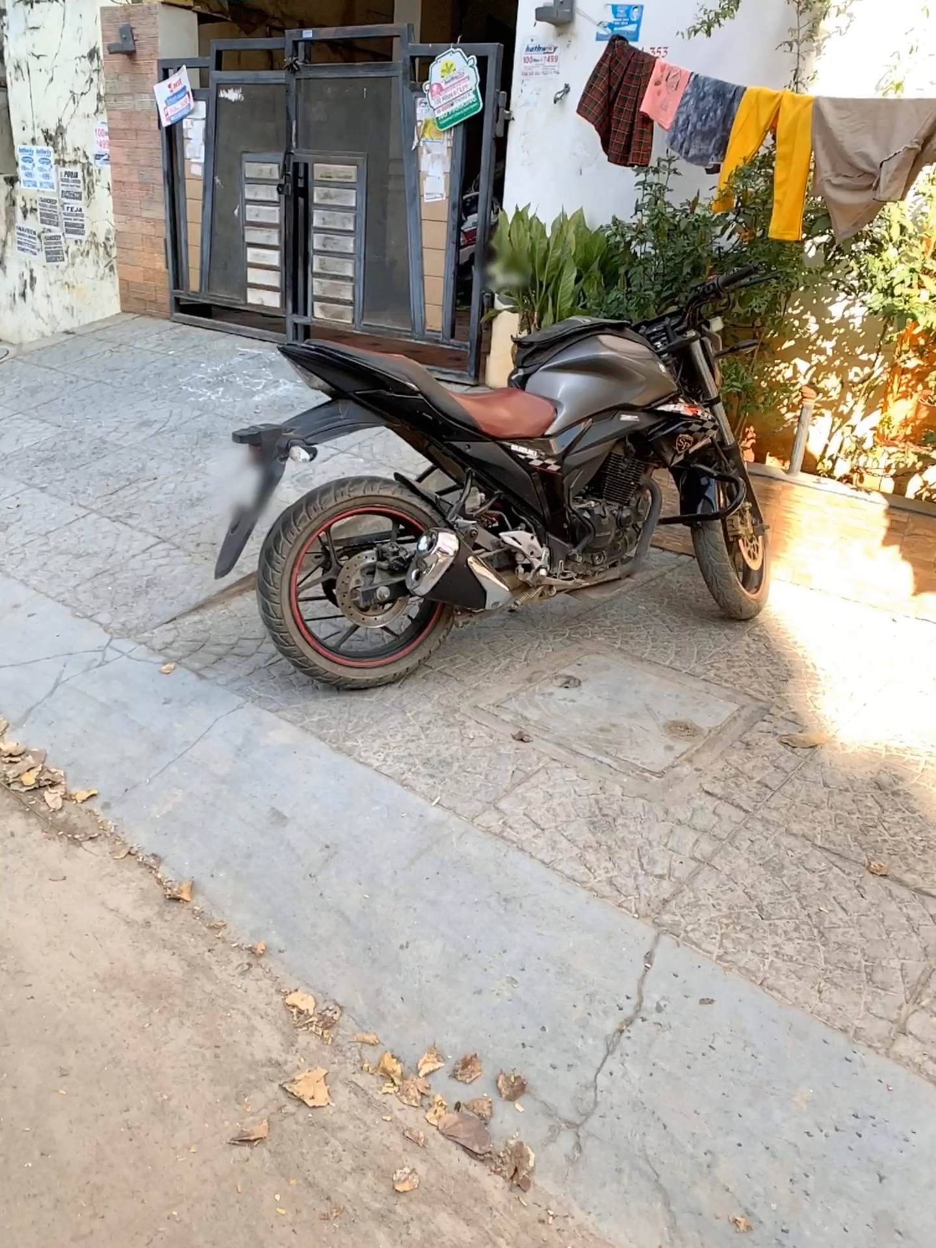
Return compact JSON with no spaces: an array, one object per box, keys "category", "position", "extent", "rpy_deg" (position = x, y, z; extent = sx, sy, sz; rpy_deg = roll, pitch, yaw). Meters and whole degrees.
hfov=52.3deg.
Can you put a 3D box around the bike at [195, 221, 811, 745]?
[{"category":"bike","position":[0.091,-0.550,2.851],"extent":[1.626,1.140,0.811],"rpy_deg":[-12,28,-32]}]
